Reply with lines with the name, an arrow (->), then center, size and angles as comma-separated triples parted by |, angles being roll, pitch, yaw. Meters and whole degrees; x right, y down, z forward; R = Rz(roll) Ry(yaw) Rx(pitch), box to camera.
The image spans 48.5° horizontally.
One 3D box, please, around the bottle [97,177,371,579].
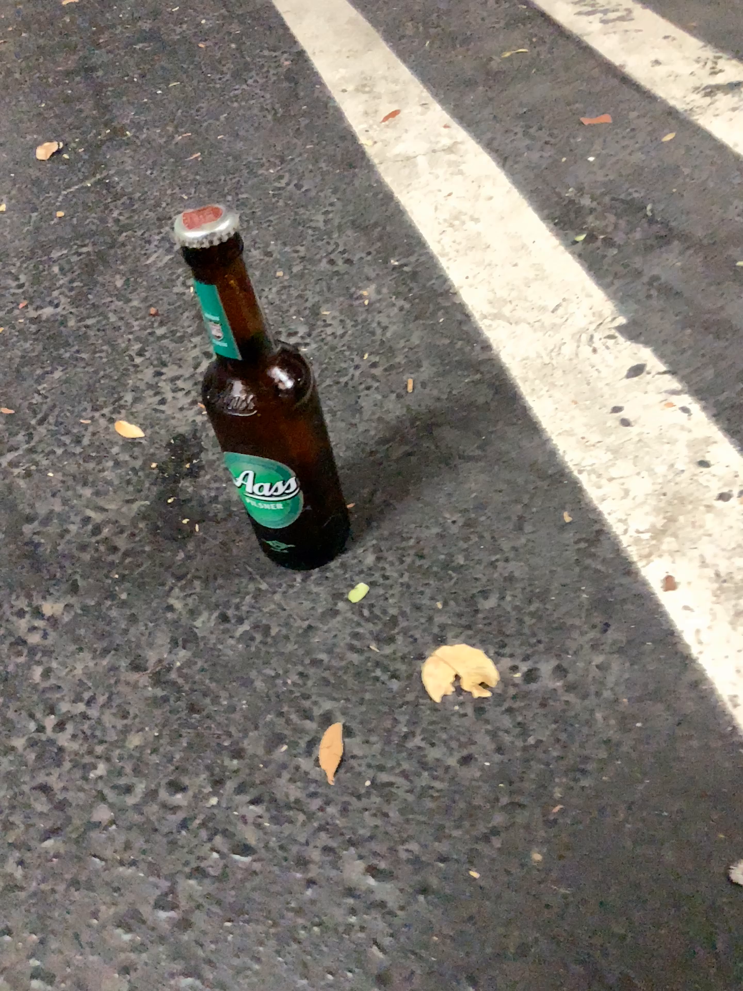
bottle -> -0.056, -0.048, 0.427 | 0.070, 0.210, 0.070 | -5, 51, 6
